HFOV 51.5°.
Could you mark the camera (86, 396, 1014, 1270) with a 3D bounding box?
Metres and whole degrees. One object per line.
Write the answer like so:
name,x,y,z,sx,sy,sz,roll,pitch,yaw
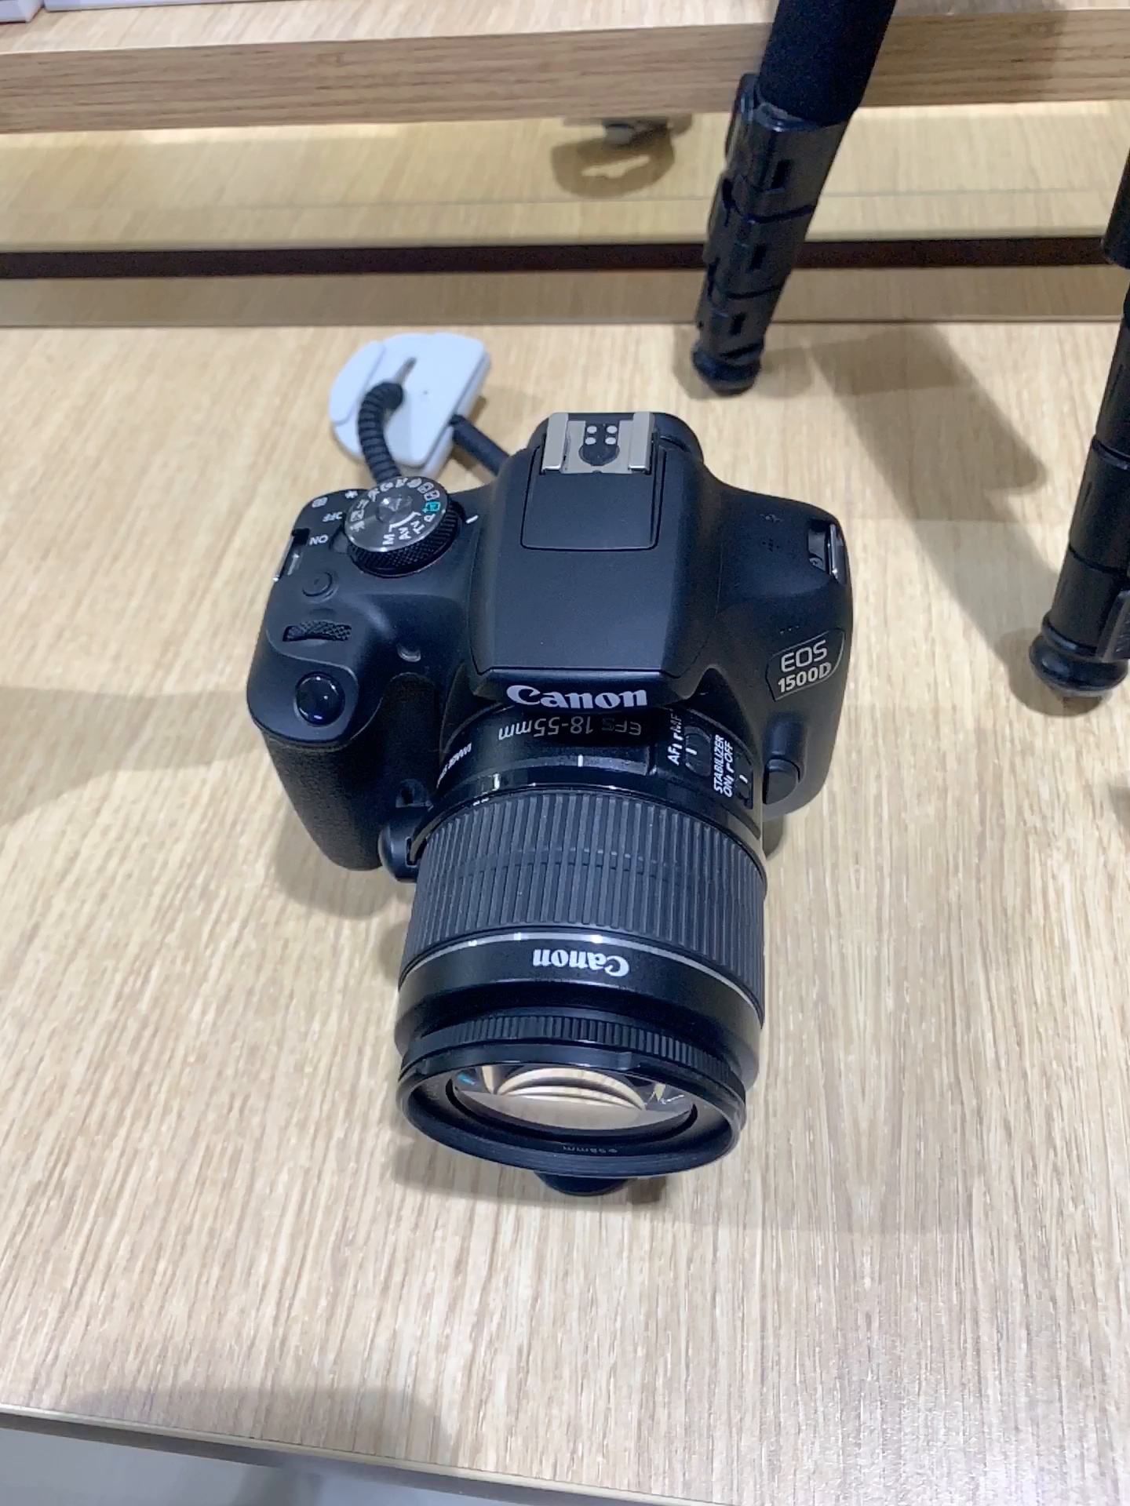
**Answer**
camera,0.004,0.012,0.229,0.121,0.088,0.140,0,52,7
